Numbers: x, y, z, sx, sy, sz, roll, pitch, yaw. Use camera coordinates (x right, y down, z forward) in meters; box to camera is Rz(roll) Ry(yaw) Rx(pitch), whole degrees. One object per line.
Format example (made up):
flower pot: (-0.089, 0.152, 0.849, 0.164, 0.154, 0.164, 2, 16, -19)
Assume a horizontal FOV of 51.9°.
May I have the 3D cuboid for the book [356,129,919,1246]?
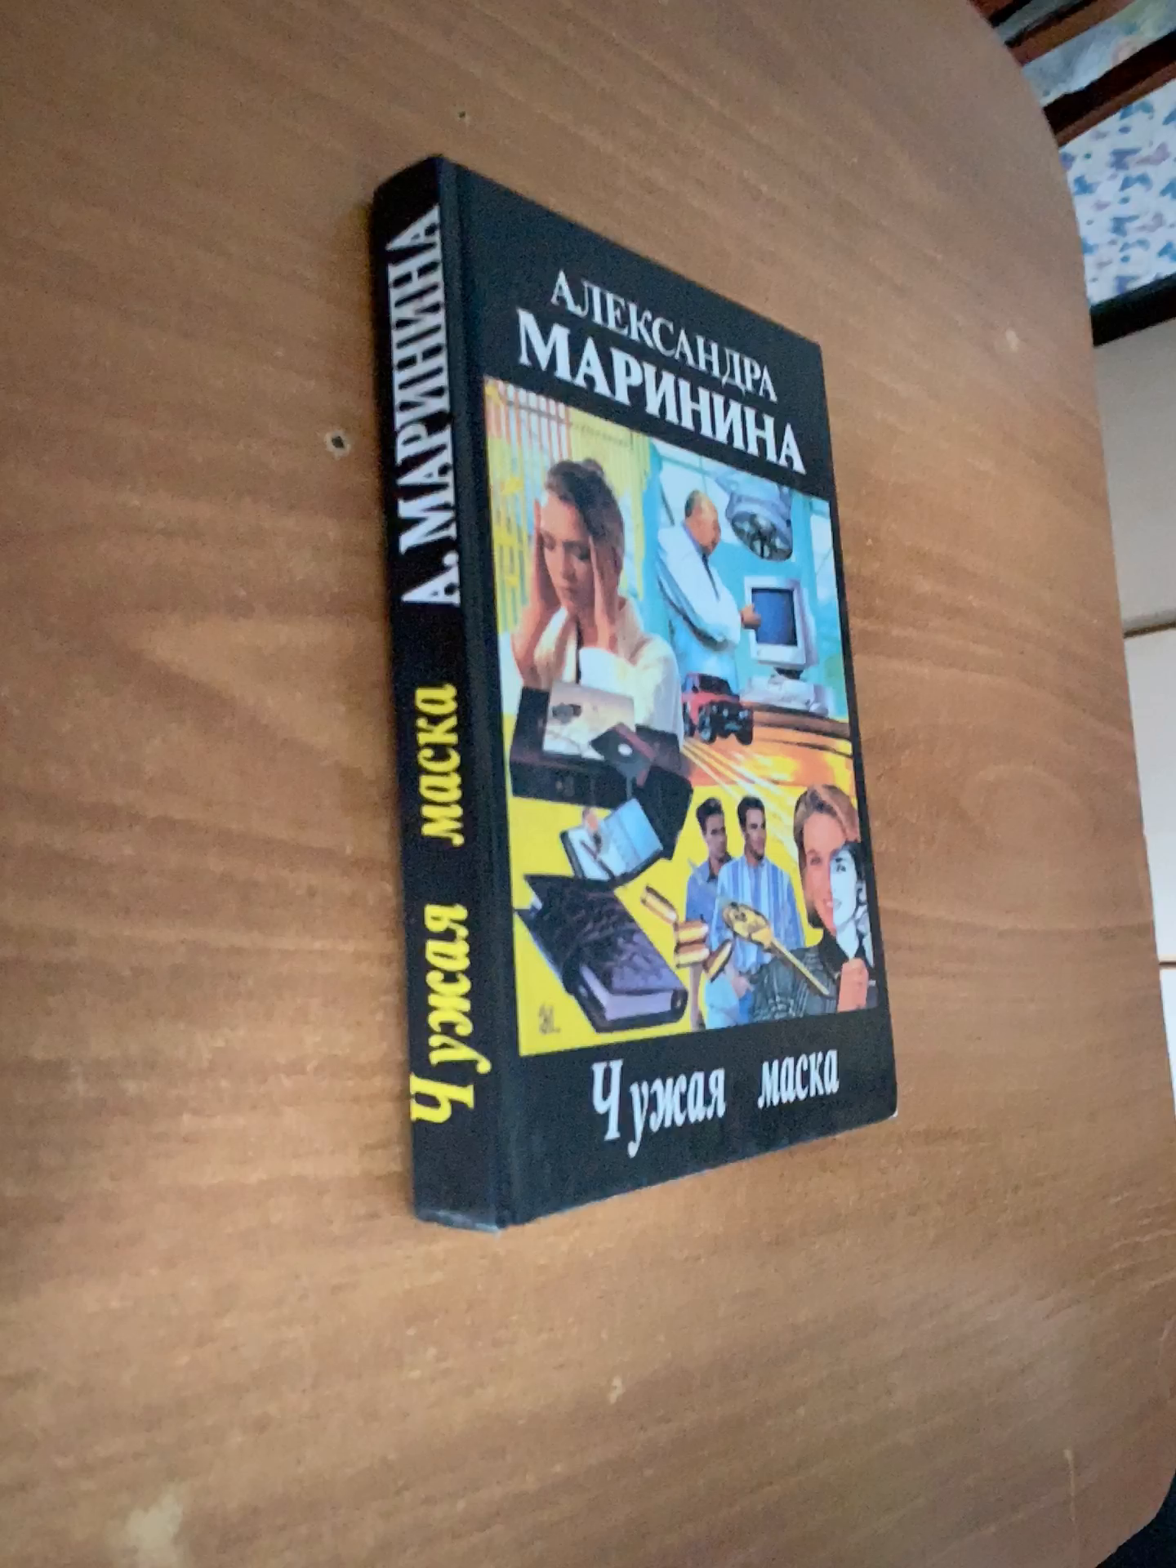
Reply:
book: (0.016, -0.018, 0.268, 0.131, 0.030, 0.200, 4, 79, -44)
